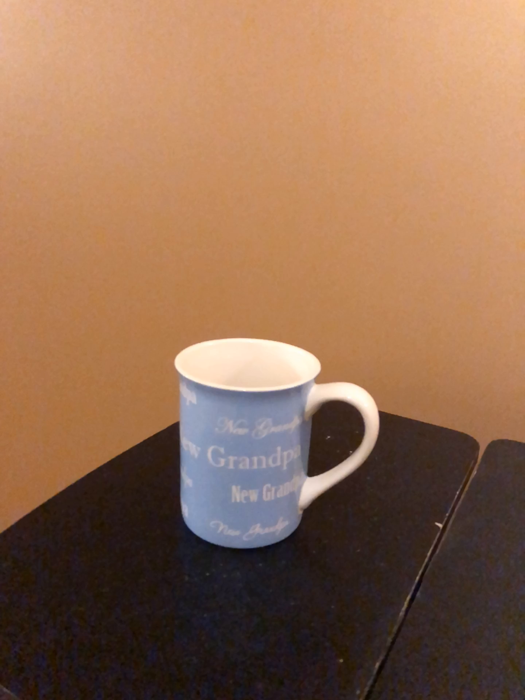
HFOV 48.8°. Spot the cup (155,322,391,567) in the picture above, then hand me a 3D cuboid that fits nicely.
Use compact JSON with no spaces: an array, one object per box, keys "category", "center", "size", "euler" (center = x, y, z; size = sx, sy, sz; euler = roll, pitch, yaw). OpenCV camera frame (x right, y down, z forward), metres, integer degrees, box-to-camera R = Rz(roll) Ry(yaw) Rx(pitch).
[{"category":"cup","center":[0.009,0.054,0.379],"size":[0.130,0.110,0.100],"euler":[6,19,8]}]
